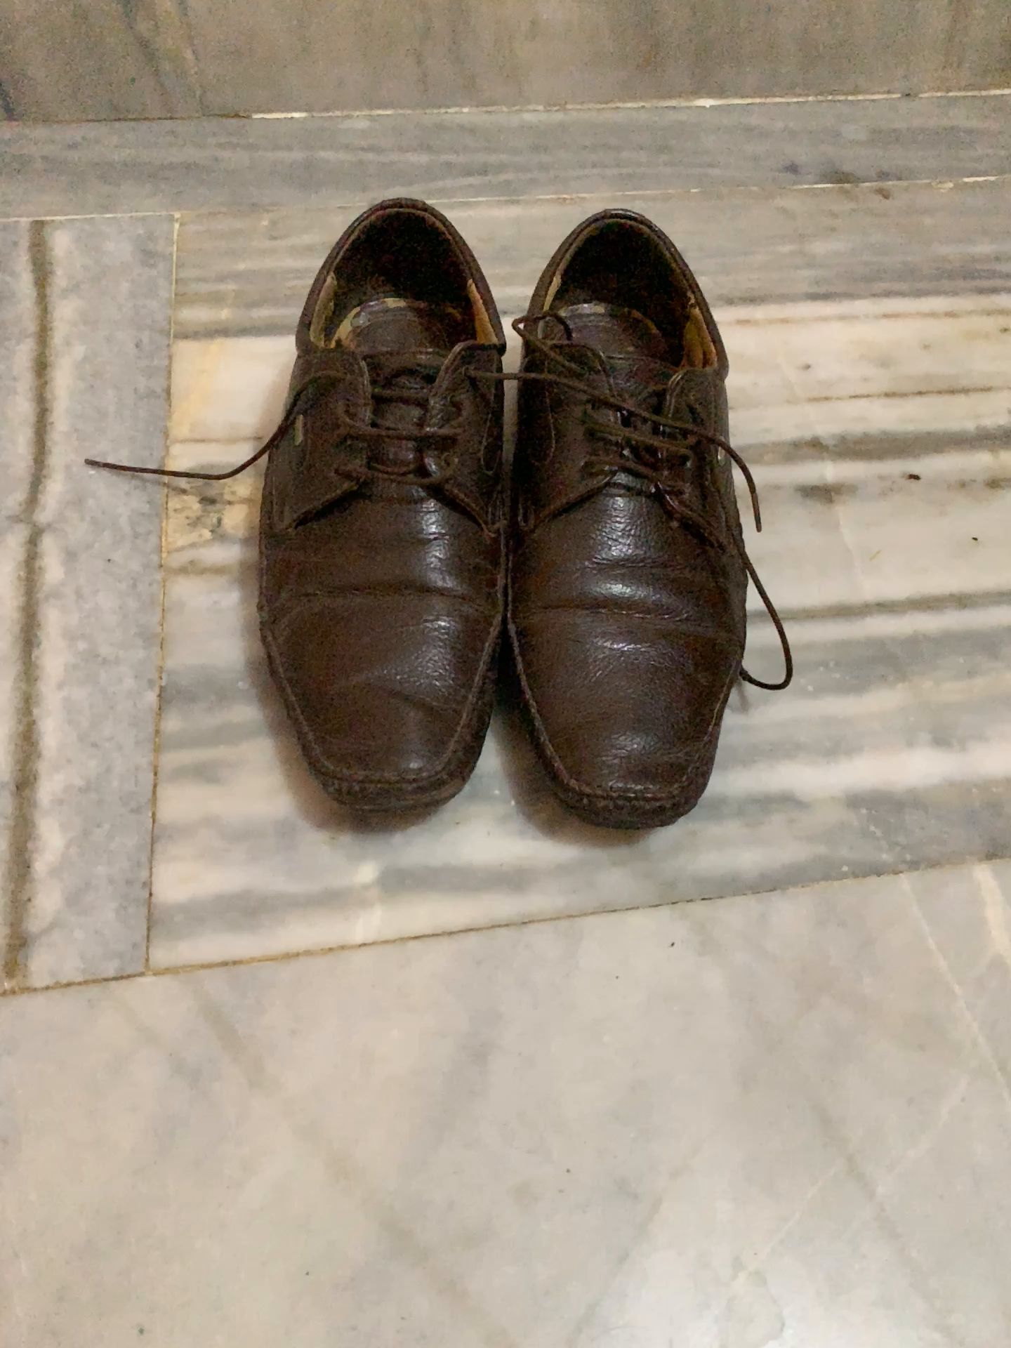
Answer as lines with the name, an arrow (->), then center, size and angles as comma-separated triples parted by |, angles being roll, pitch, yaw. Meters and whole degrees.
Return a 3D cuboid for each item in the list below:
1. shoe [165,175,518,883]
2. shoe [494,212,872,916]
shoe -> -0.053, -0.070, 0.421 | 0.100, 0.110, 0.283 | 0, 56, -3
shoe -> 0.051, -0.056, 0.426 | 0.100, 0.110, 0.283 | 0, 56, -3
